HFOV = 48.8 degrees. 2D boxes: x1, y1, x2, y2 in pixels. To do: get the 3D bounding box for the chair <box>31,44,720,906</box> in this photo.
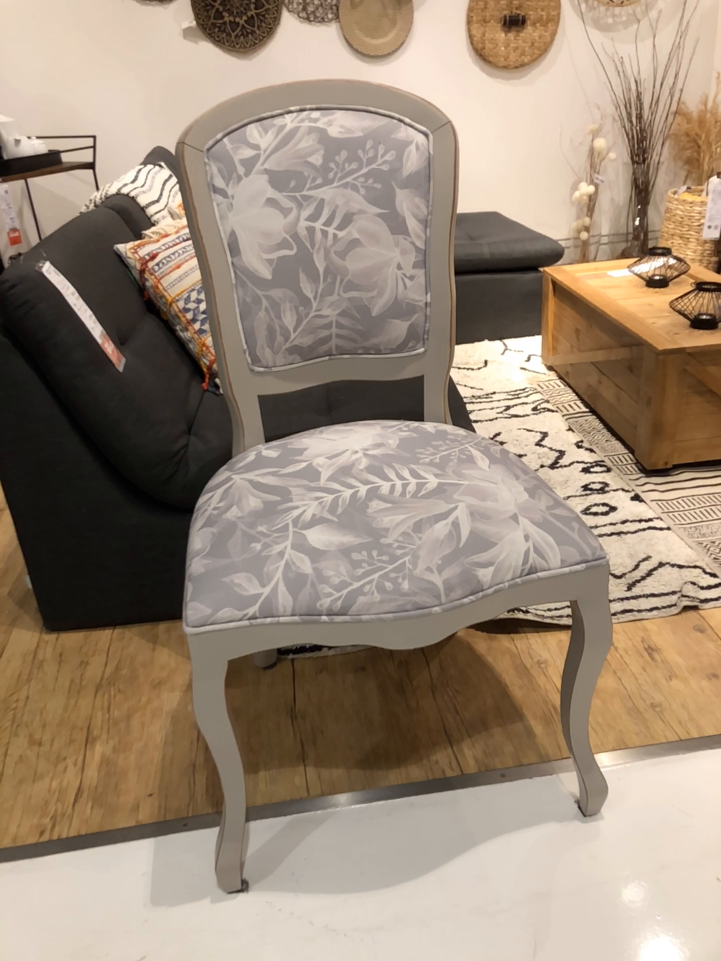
[{"bbox_3d":[0.022,-0.027,1.081,0.570,0.943,0.534,-7,27,-6],"label":"chair"}]
